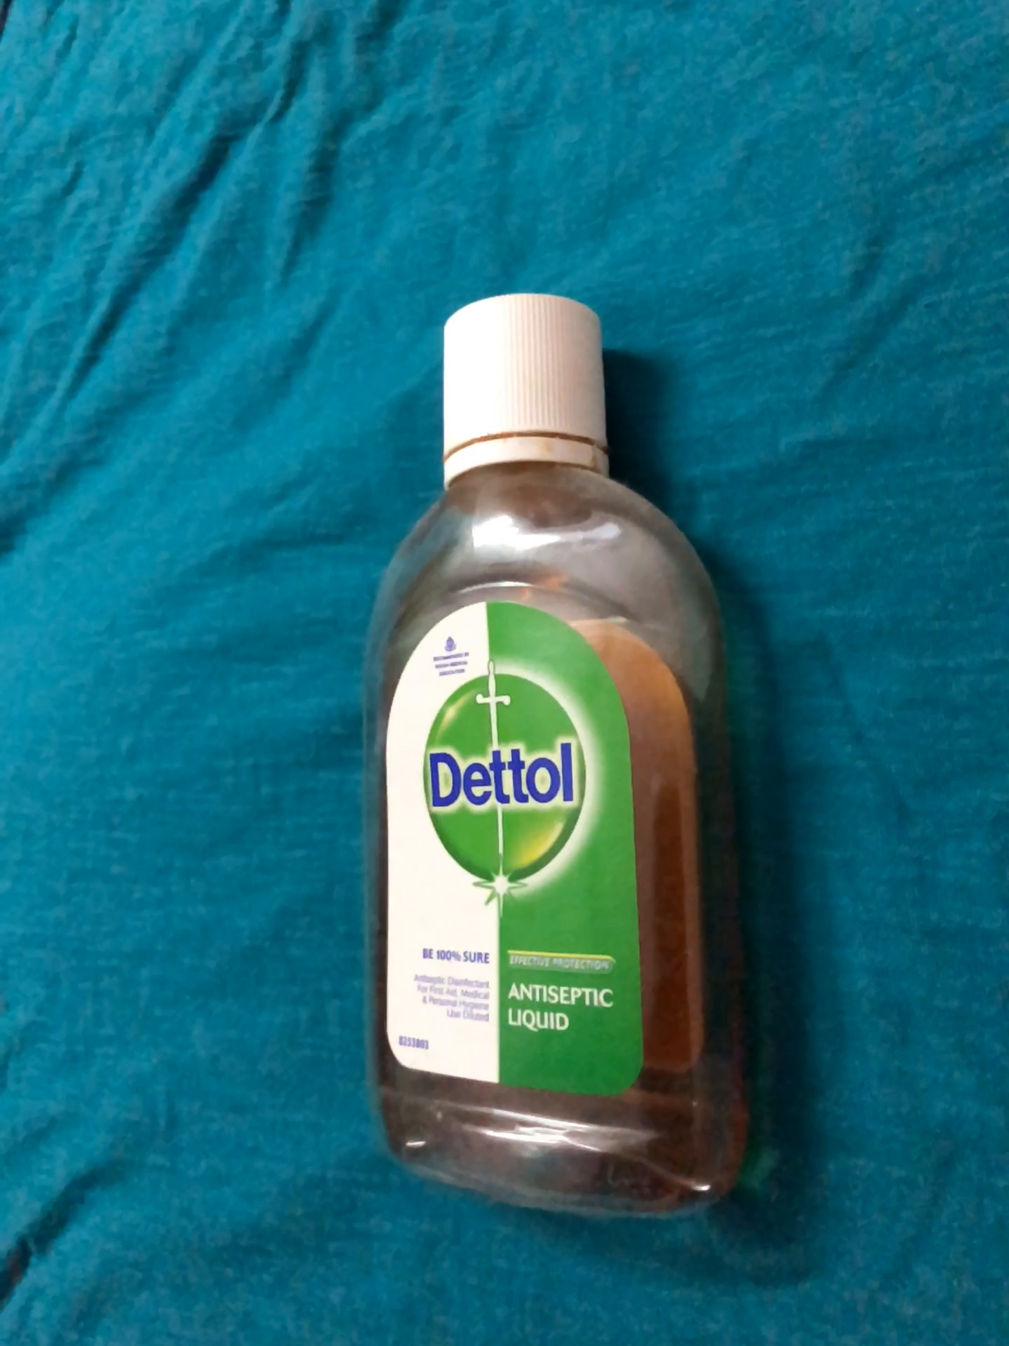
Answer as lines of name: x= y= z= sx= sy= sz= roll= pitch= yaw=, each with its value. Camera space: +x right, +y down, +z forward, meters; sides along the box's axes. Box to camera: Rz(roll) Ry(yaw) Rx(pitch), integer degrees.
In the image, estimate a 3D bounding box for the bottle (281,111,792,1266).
bottle: x=0.005 y=0.001 z=0.212 sx=0.080 sy=0.040 sz=0.180 roll=-5 pitch=80 yaw=30
